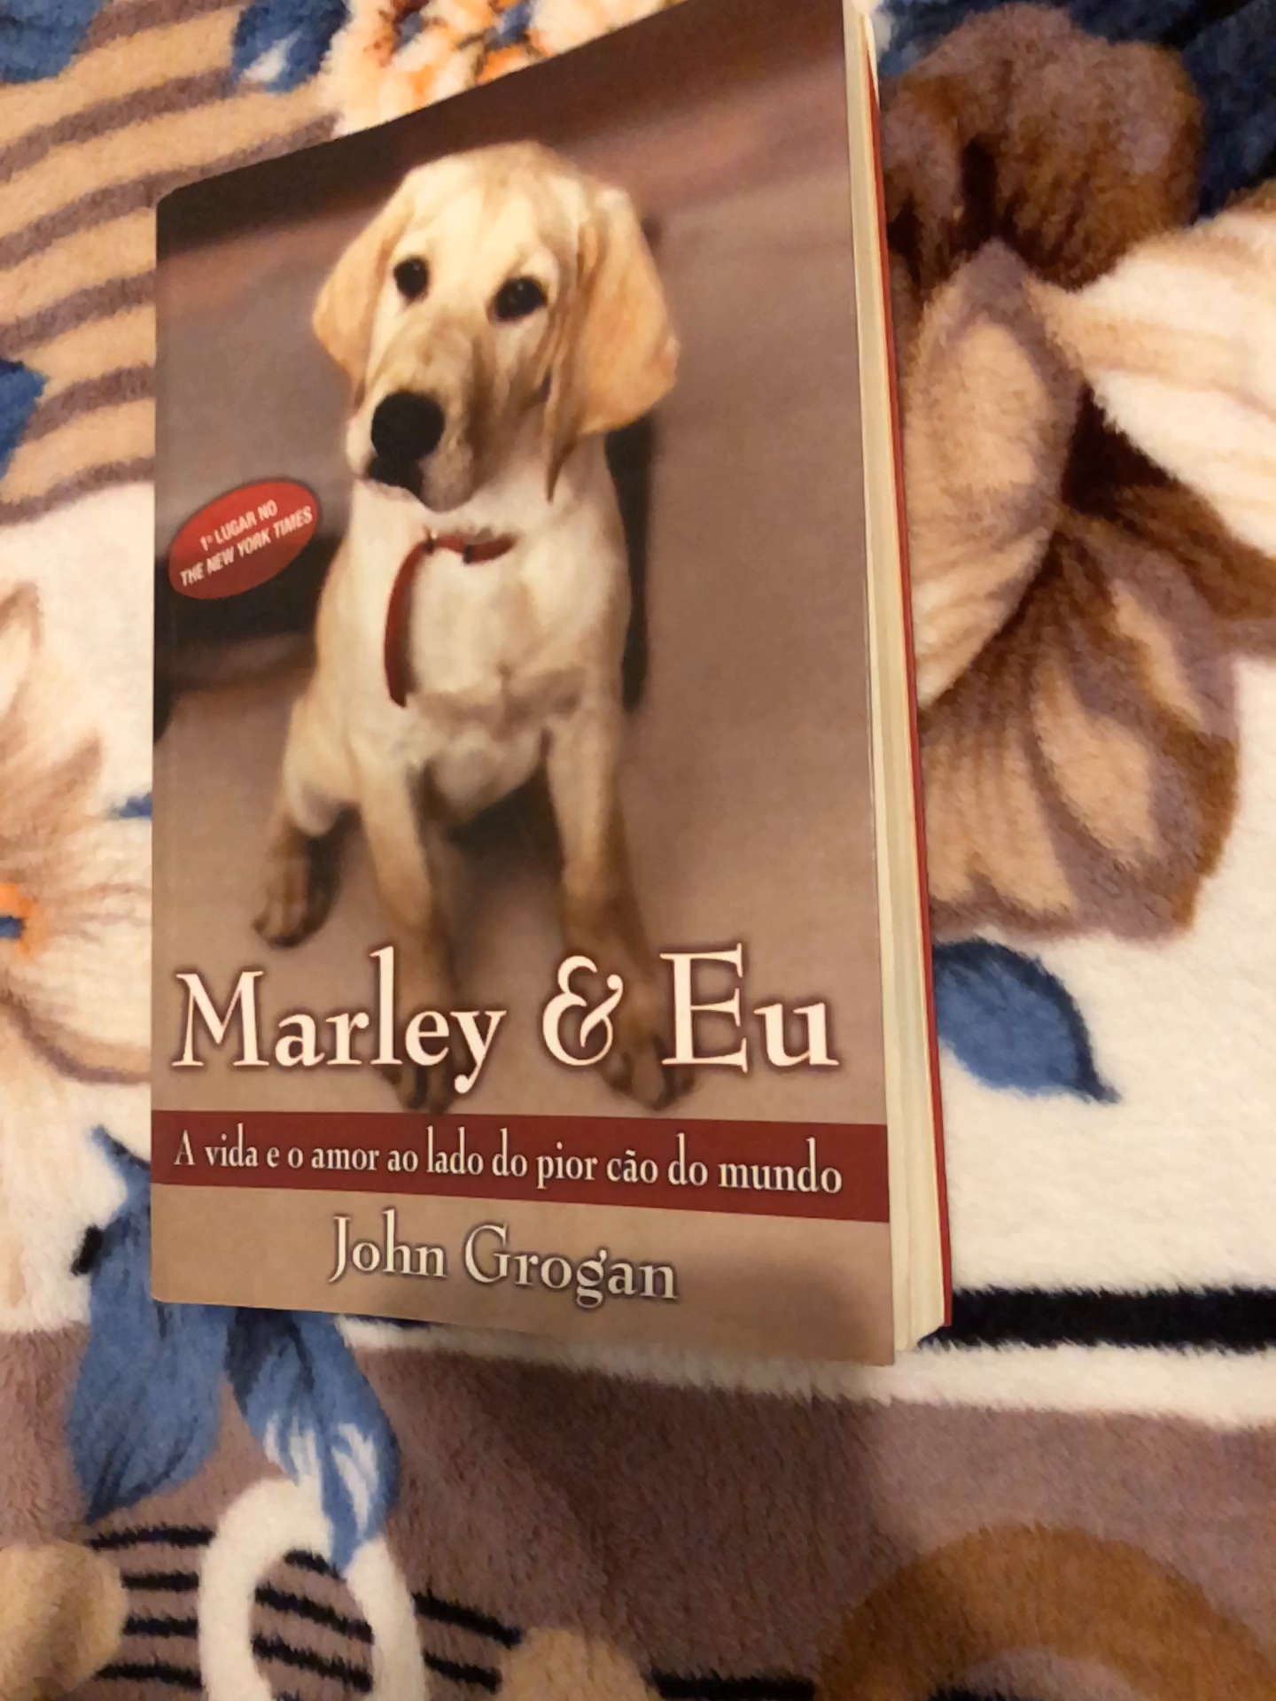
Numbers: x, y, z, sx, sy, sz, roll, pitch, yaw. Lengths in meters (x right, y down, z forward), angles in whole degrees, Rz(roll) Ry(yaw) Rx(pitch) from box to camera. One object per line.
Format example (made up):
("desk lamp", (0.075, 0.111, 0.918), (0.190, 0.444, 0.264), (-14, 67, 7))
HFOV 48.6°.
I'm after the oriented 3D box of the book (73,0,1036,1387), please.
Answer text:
("book", (-0.025, -0.033, 0.260), (0.170, 0.040, 0.230), (-5, 83, 26))
